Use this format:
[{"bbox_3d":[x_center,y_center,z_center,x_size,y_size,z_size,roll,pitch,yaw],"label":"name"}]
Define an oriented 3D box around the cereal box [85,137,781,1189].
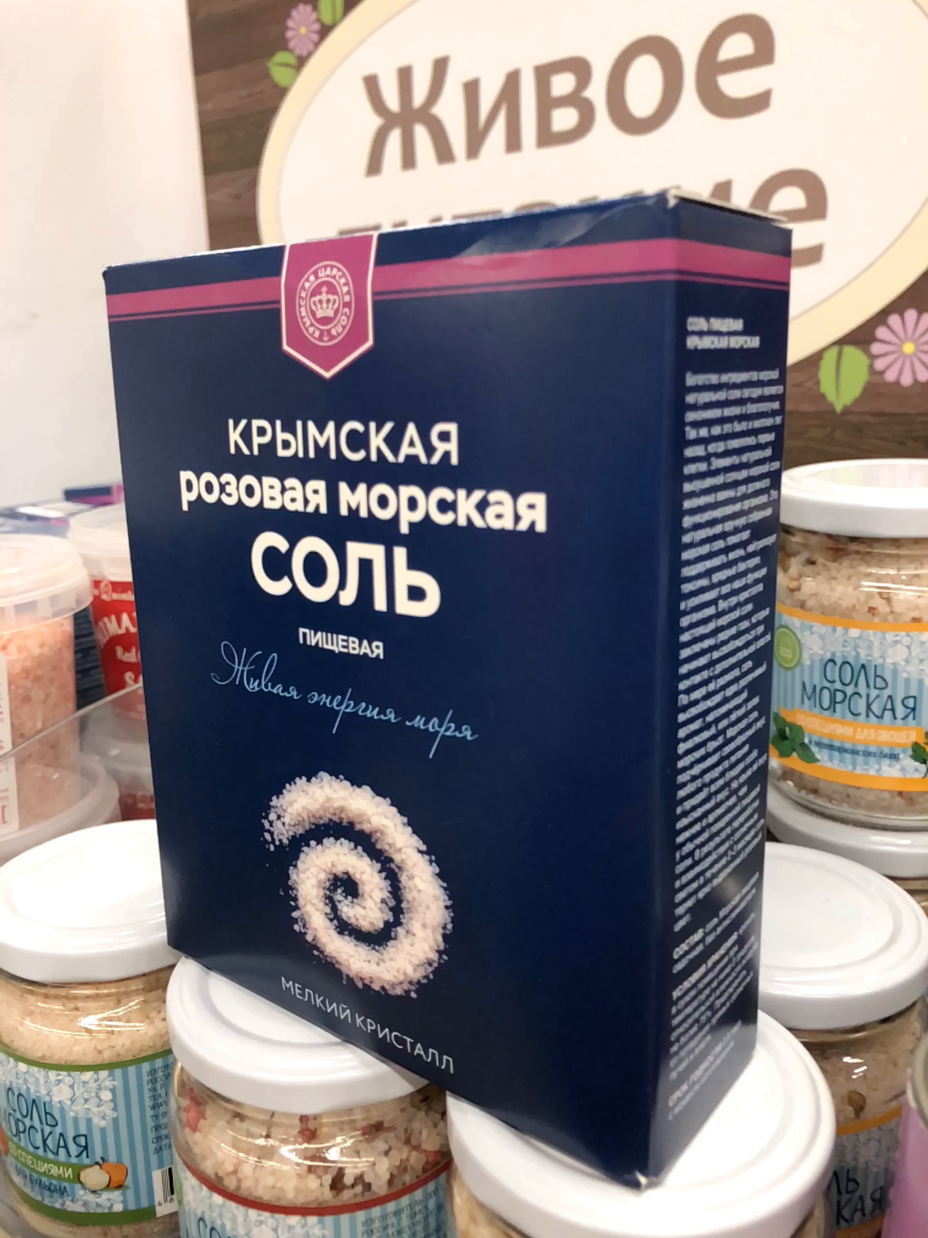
[{"bbox_3d":[-0.010,0.003,0.193,0.120,0.149,0.040,9,17,37],"label":"cereal box"}]
